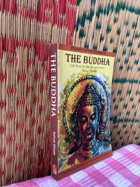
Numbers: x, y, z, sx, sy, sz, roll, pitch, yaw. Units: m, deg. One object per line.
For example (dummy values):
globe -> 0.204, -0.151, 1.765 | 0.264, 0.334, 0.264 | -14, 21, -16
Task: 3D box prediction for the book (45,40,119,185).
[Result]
book -> 0.028, 0.026, 0.278 | 0.146, 0.206, 0.030 | -3, 5, -38
